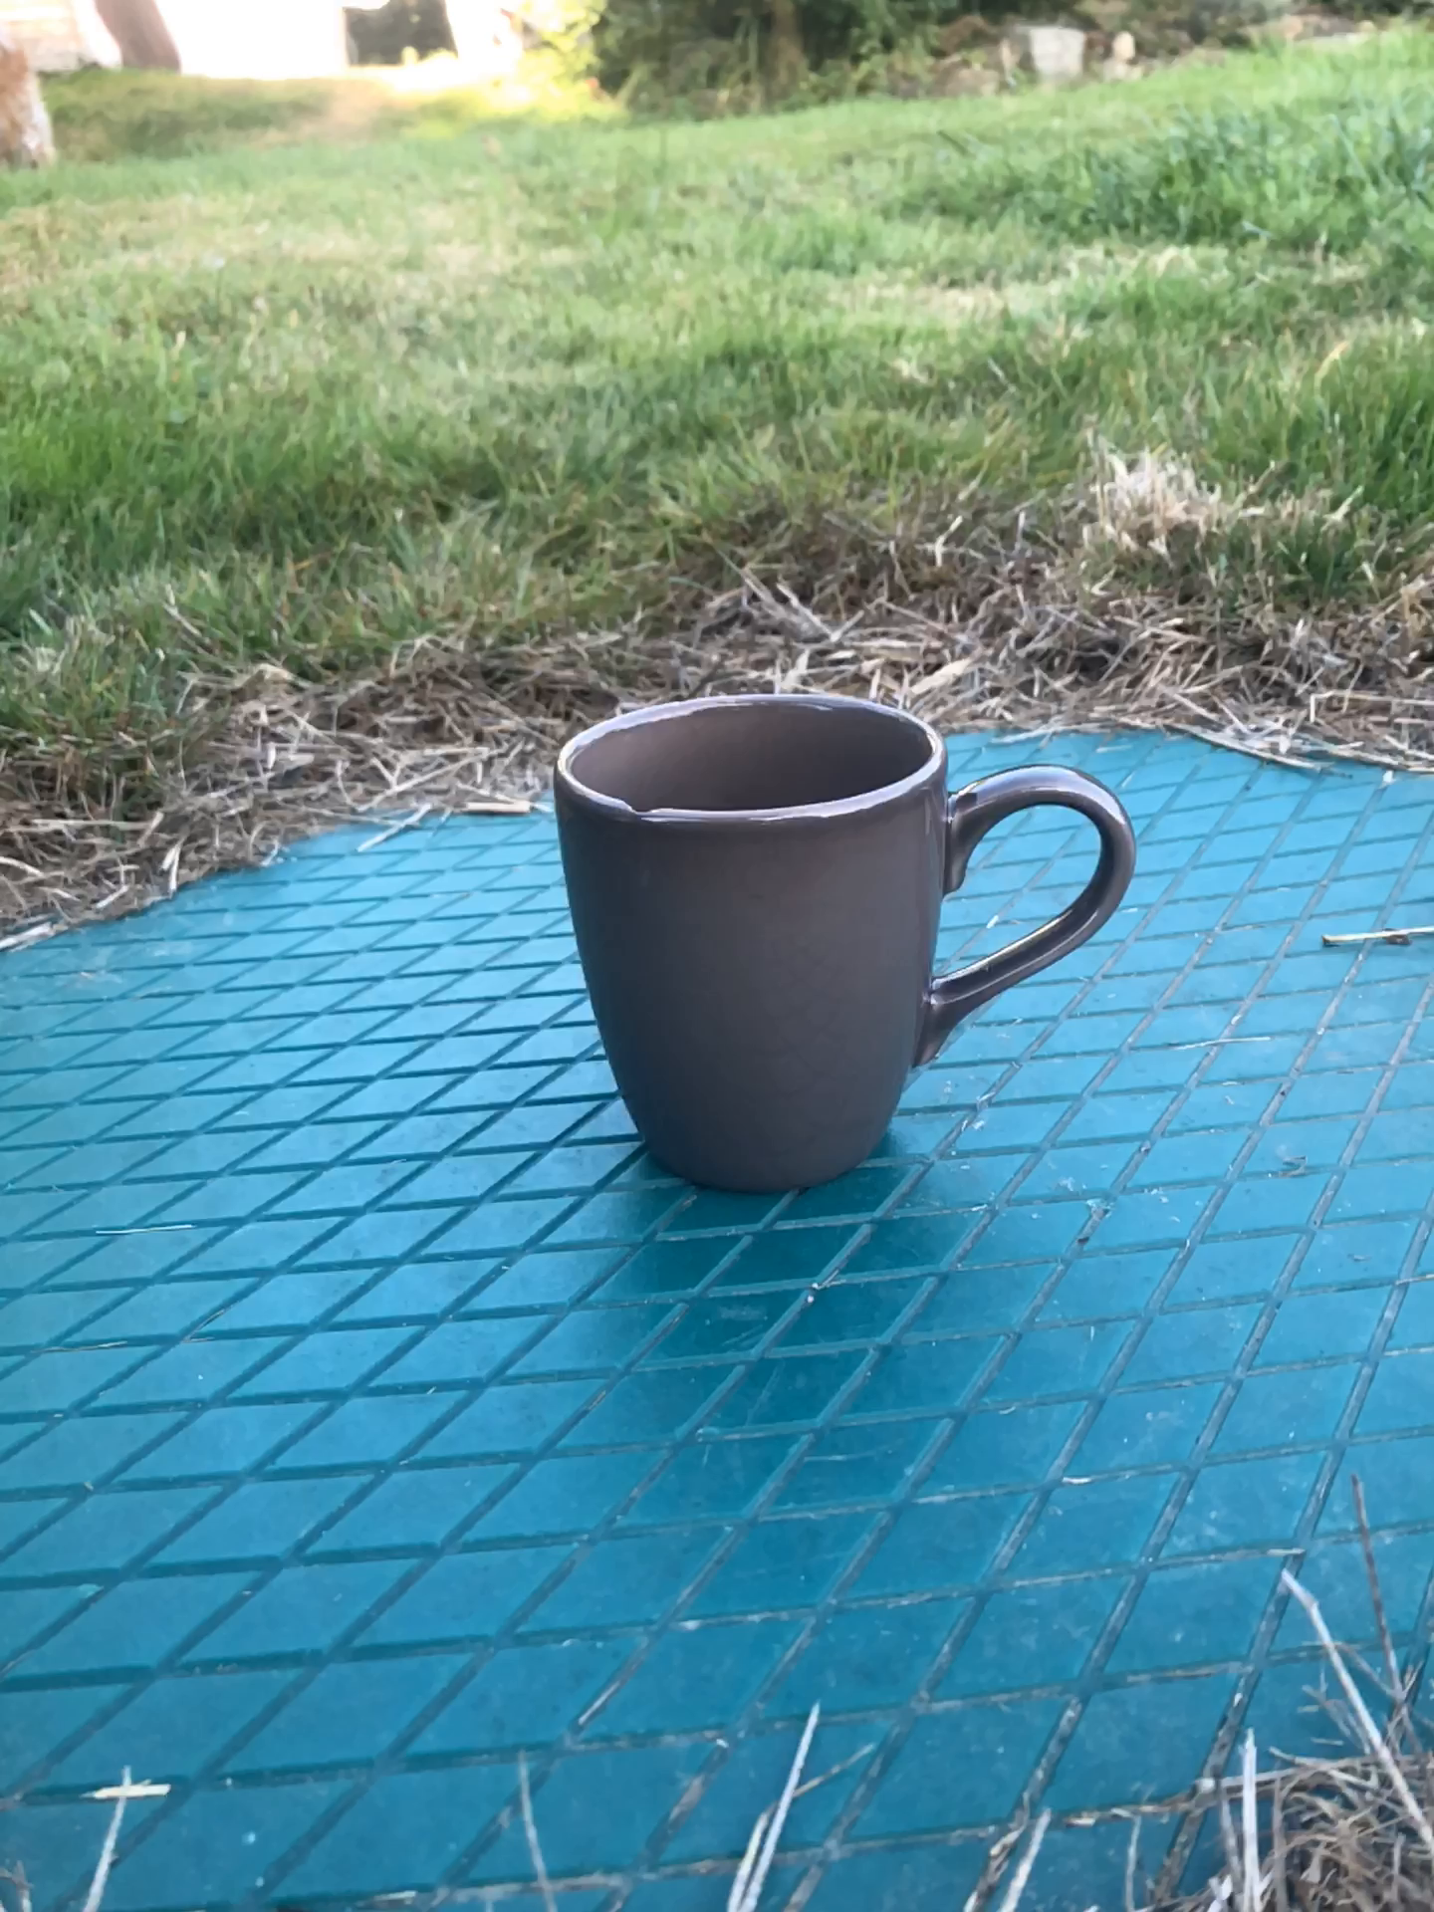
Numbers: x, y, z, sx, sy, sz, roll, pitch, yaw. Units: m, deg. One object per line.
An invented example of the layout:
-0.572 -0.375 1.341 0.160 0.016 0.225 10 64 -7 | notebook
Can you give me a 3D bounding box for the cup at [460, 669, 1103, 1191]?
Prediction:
0.018 -0.009 0.368 0.126 0.086 0.091 -2 25 5 | cup
